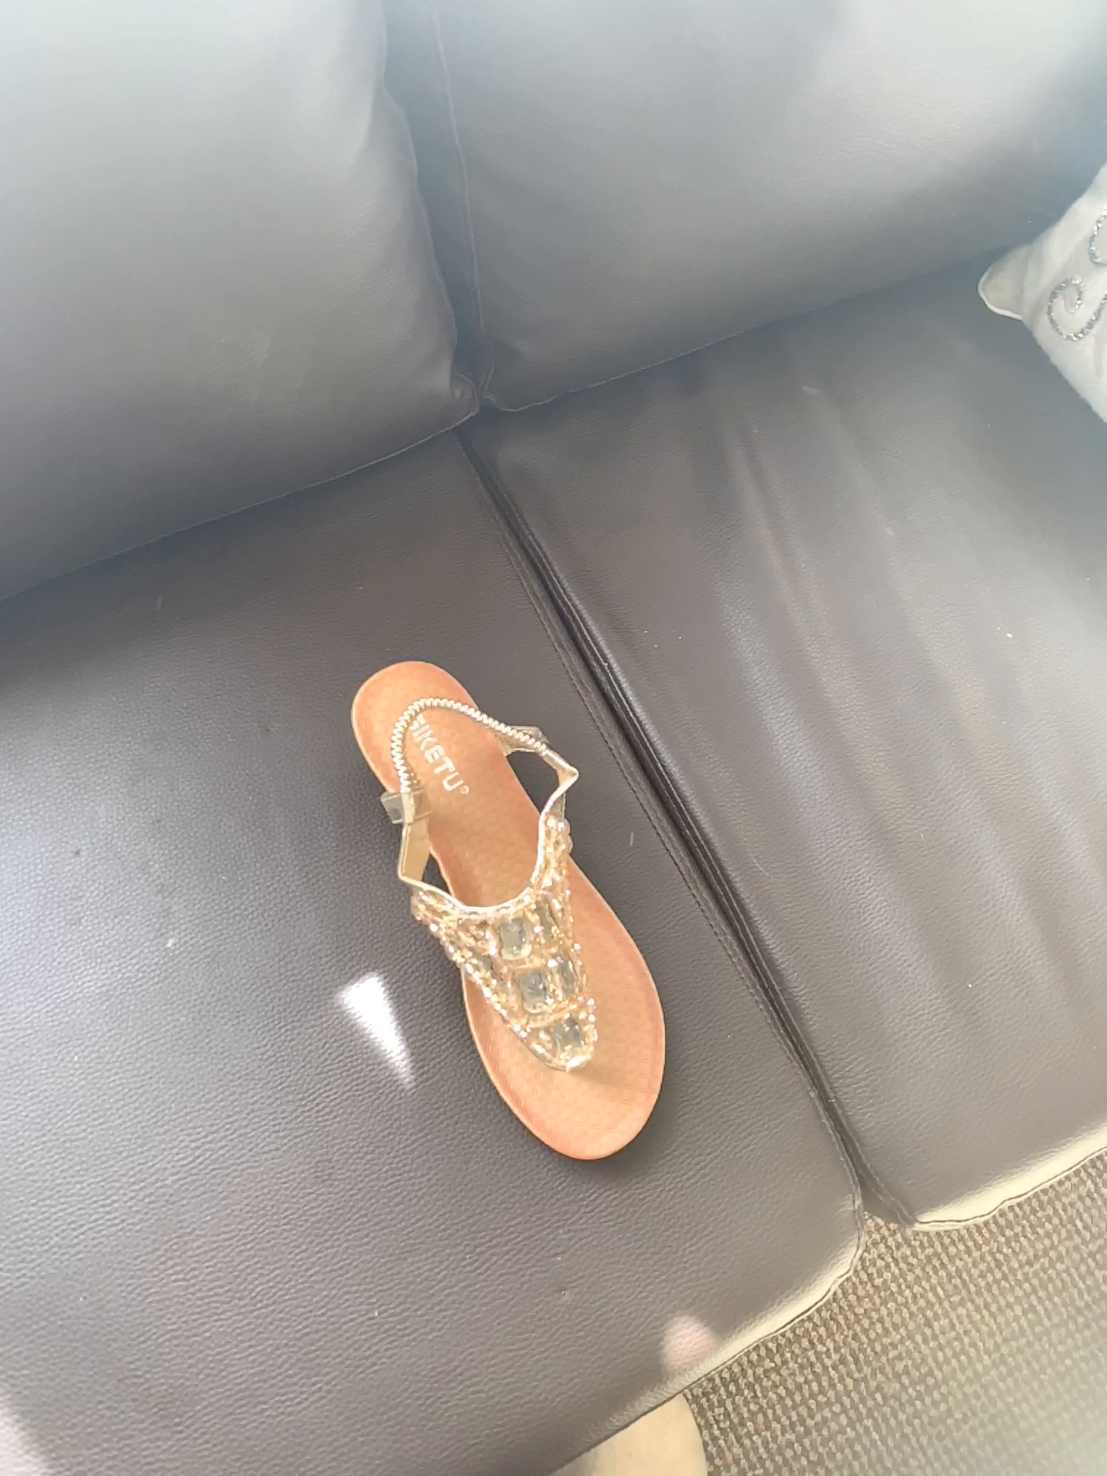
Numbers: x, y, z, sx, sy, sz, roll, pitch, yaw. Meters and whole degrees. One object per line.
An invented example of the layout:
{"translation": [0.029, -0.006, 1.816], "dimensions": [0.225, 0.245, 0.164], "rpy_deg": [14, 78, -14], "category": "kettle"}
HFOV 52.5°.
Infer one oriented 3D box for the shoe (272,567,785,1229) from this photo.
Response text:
{"translation": [-0.022, 0.078, 0.543], "dimensions": [0.100, 0.139, 0.271], "rpy_deg": [-27, 73, -14], "category": "shoe"}
